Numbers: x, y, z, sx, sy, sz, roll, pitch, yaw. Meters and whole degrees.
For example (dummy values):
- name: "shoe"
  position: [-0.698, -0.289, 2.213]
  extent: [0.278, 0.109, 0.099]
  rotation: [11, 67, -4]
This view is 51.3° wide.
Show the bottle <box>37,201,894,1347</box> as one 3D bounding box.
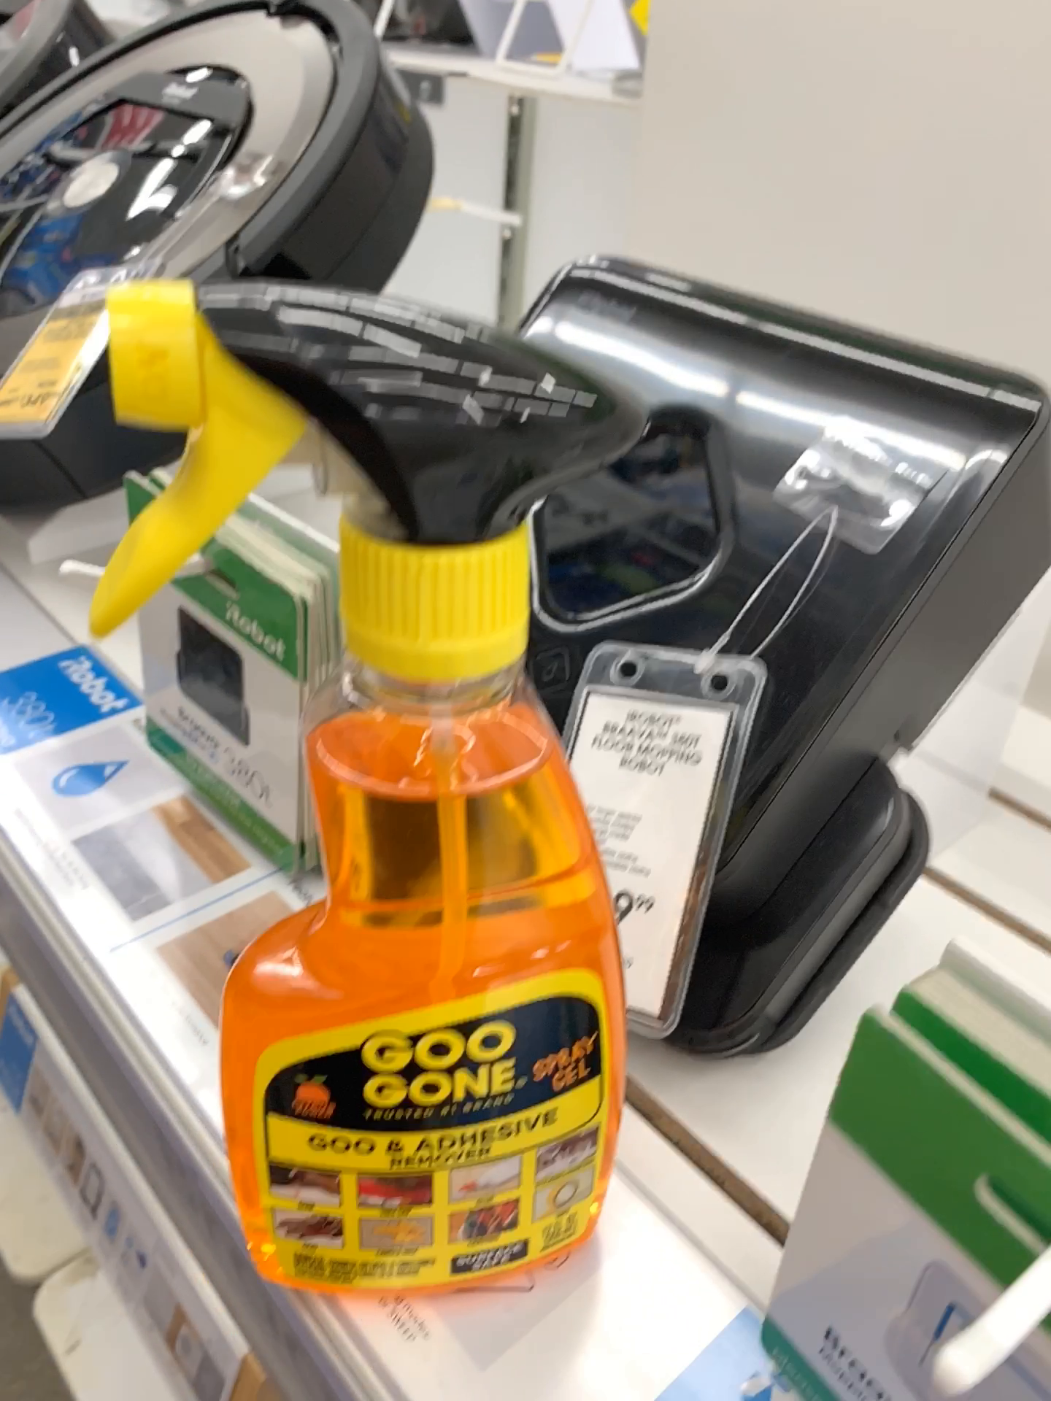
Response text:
- name: "bottle"
  position: [-0.014, 0.033, 0.210]
  extent: [0.100, 0.226, 0.050]
  rotation: [-4, 35, -11]
